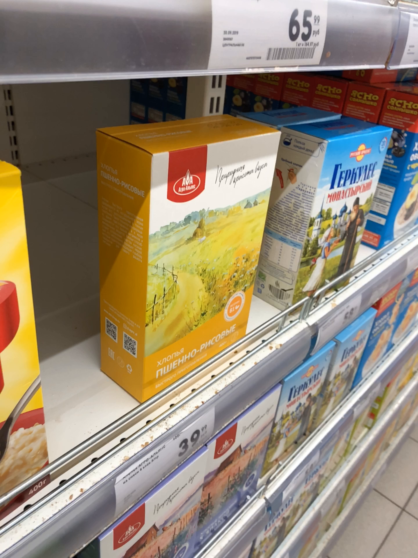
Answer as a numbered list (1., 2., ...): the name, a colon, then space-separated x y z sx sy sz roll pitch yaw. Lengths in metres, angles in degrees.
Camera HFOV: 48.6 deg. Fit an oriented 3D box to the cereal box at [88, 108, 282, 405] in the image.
1. cereal box: -0.020 -0.021 0.370 0.060 0.199 0.130 28 37 33
